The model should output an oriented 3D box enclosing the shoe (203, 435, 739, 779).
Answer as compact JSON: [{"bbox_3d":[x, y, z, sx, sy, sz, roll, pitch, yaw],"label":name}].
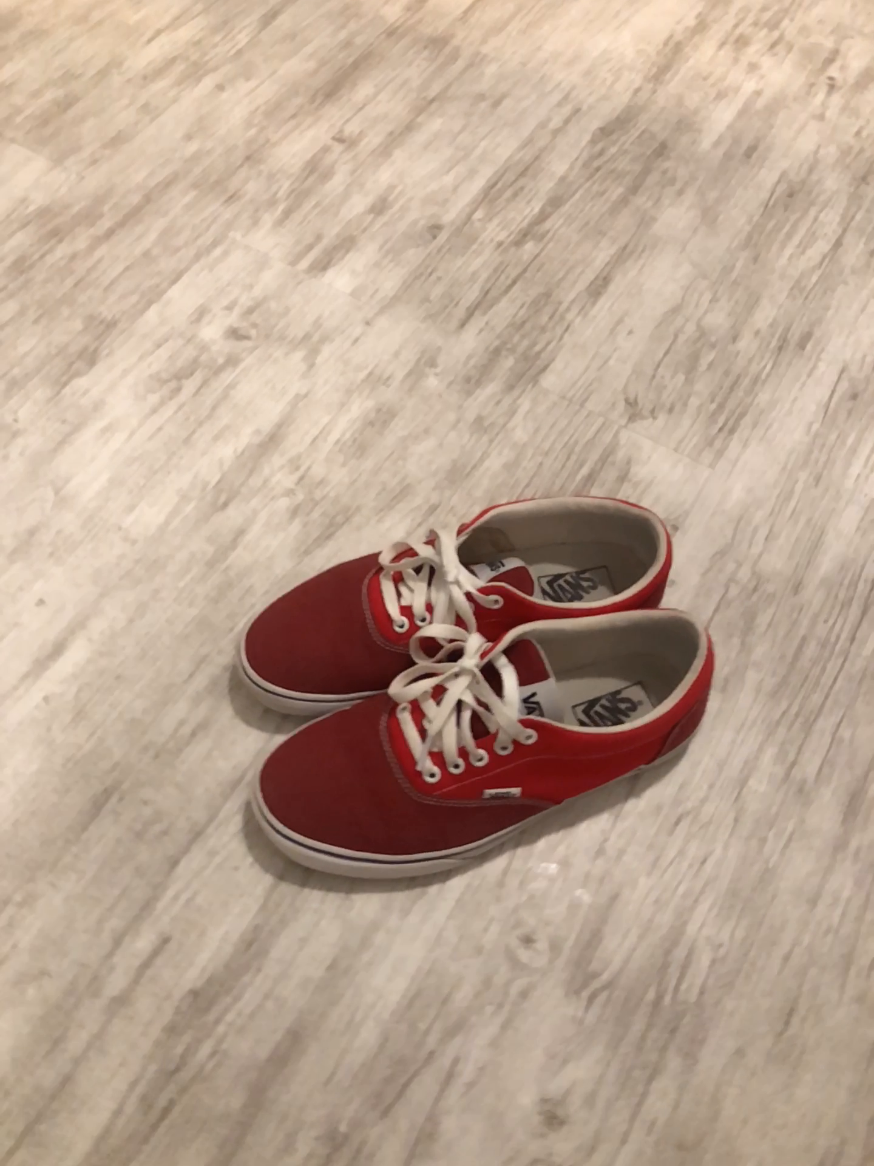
[{"bbox_3d":[0.016,0.013,0.565,0.272,0.093,0.110,-14,61,-9],"label":"shoe"}]

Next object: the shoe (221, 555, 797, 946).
[{"bbox_3d":[0.034,0.088,0.518,0.266,0.088,0.110,-16,61,-11],"label":"shoe"}]
